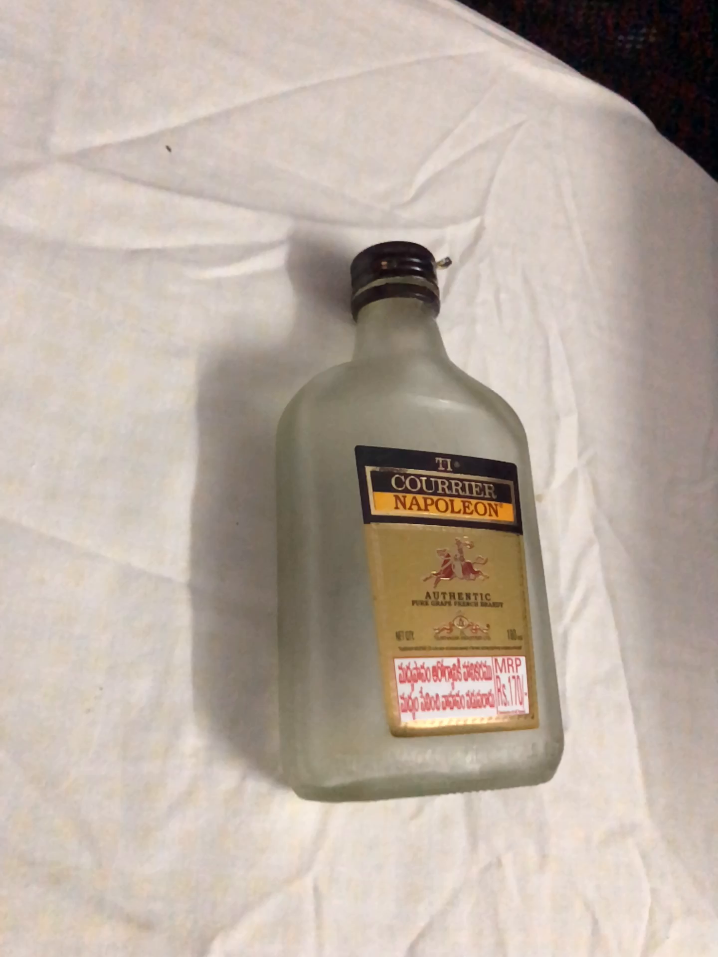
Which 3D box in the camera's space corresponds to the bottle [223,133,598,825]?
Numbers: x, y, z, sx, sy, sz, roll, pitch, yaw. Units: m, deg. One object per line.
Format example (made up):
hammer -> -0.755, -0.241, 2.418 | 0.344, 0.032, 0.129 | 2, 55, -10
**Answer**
bottle -> 0.009, 0.000, 0.213 | 0.080, 0.040, 0.160 | 7, 71, -29
